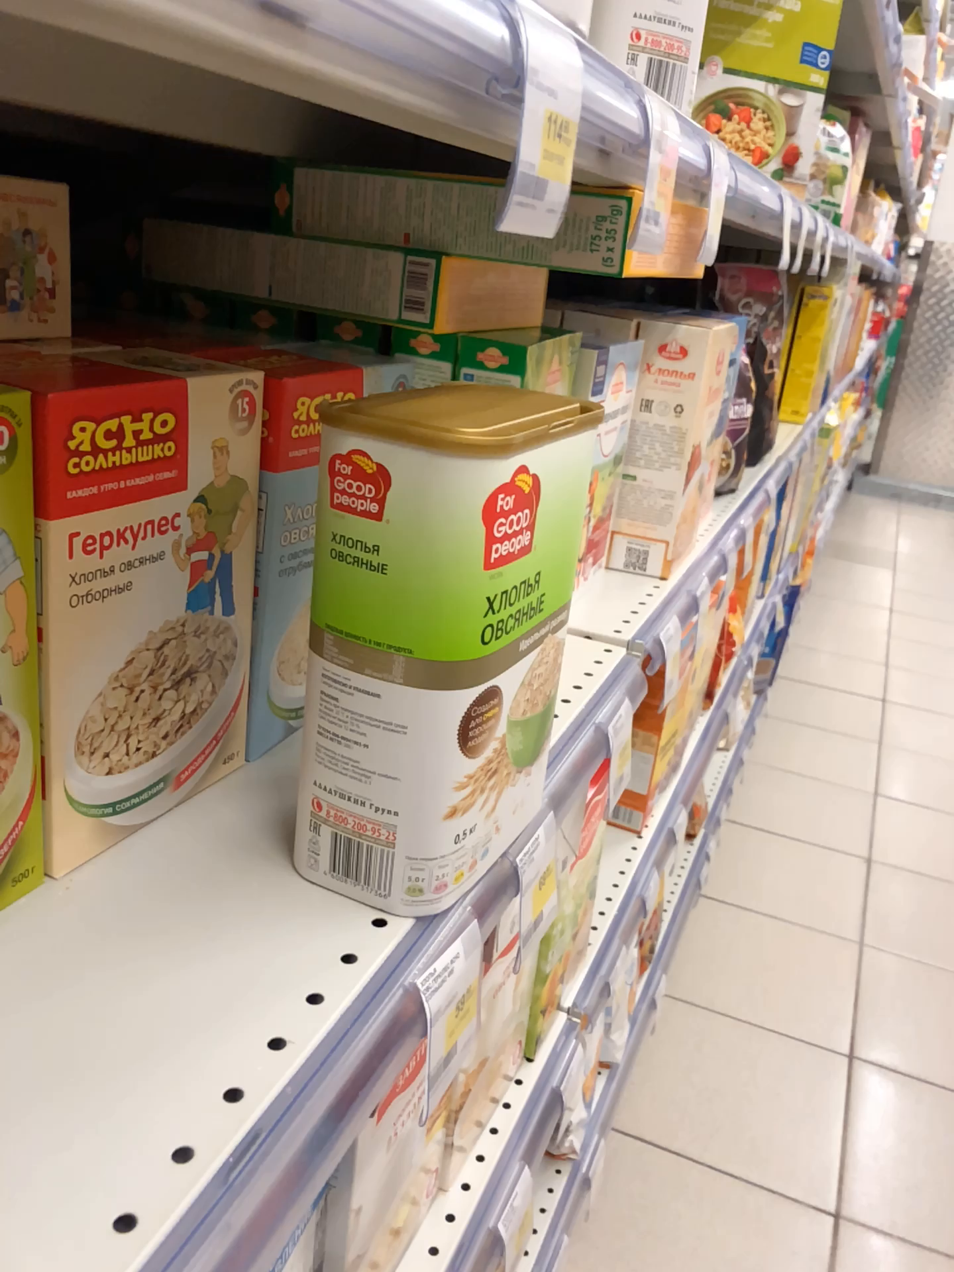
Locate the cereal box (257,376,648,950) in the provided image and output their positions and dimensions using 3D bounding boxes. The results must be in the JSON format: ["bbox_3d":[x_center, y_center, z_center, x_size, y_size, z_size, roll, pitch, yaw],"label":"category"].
[{"bbox_3d":[-0.008,-0.001,0.439,0.090,0.189,0.141,15,22,23],"label":"cereal box"}]
